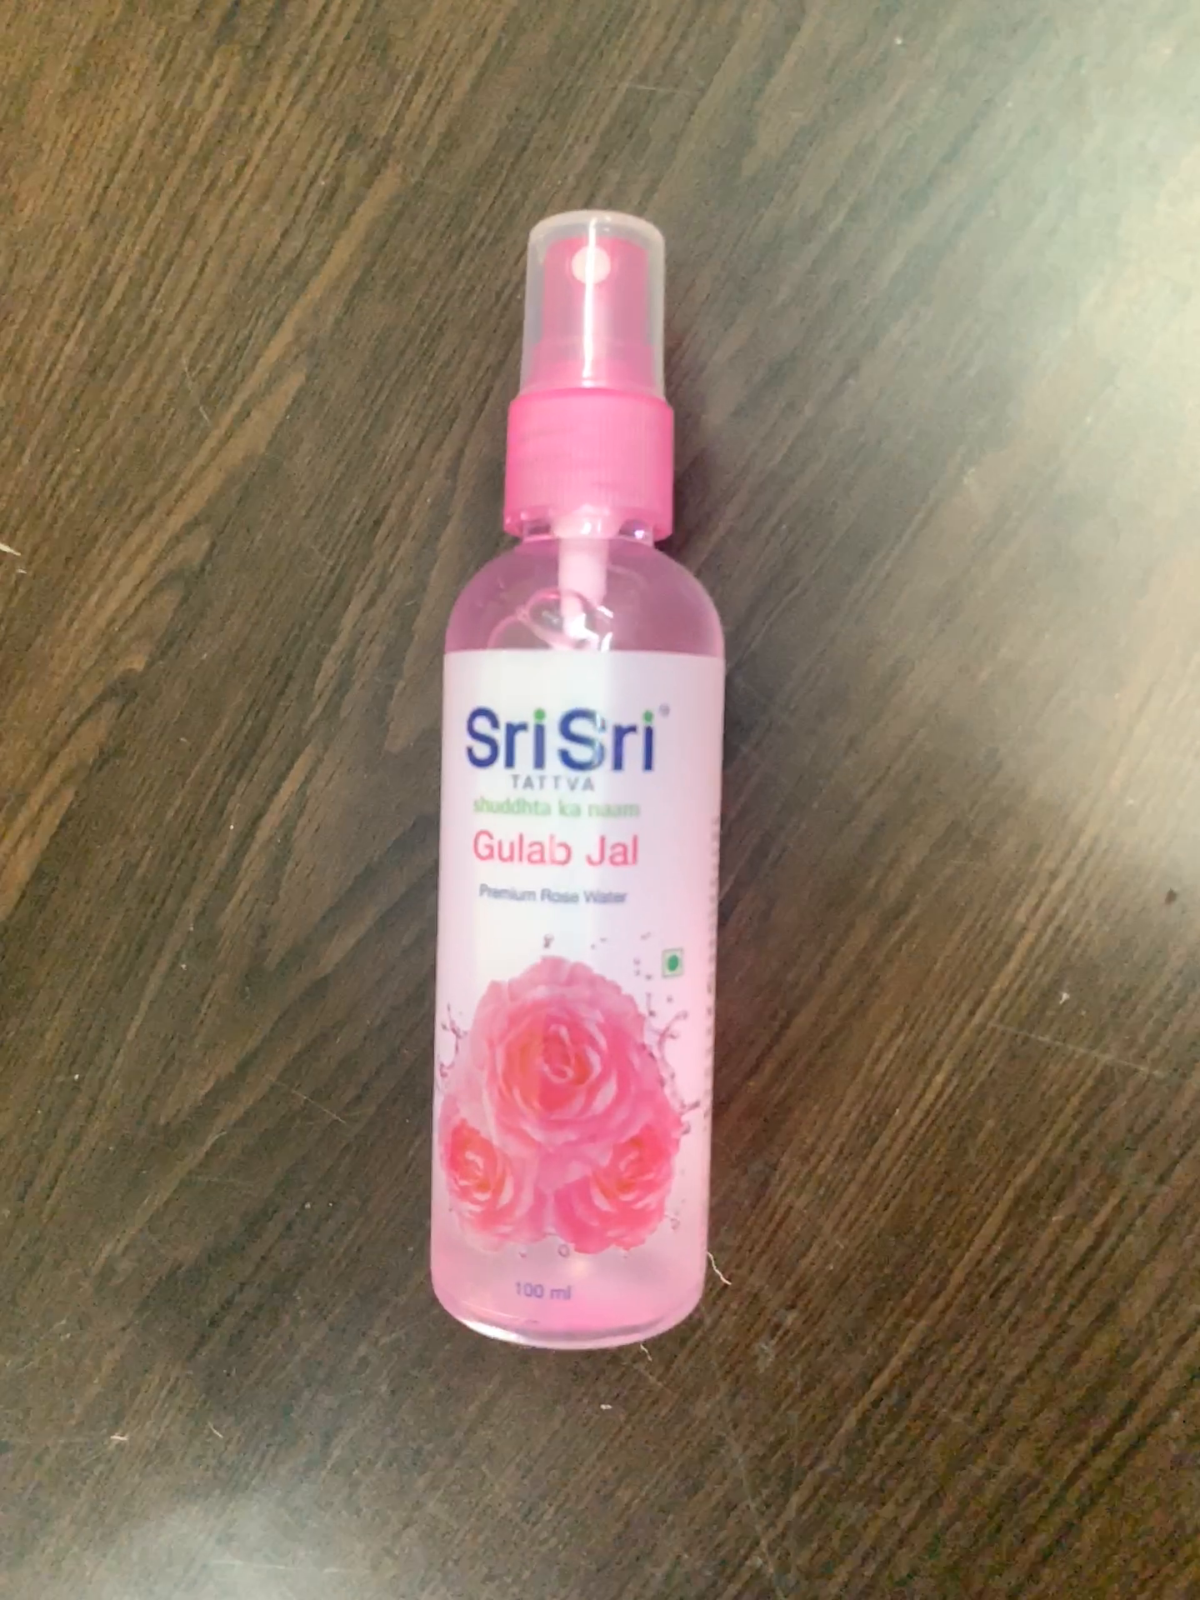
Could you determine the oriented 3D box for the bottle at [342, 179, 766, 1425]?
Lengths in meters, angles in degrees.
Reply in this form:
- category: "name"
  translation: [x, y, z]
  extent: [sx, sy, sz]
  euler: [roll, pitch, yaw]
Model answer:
- category: "bottle"
  translation: [-0.005, 0.001, 0.165]
  extent: [0.040, 0.040, 0.140]
  euler: [3, 95, 19]
